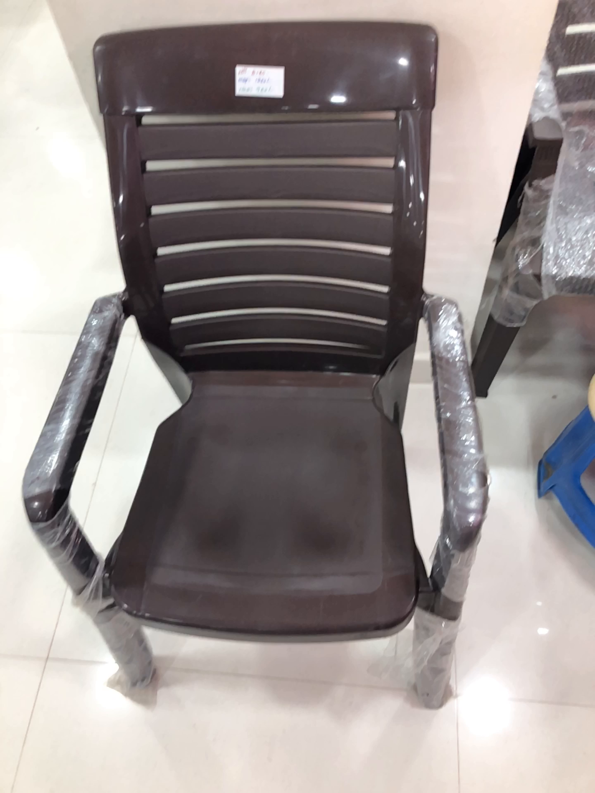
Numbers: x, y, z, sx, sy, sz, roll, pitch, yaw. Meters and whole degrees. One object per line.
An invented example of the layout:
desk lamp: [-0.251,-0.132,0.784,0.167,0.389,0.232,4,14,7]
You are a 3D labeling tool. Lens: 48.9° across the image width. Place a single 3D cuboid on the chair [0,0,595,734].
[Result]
chair: [-0.040,0.061,1.033,0.640,1.005,0.673,2,55,4]
